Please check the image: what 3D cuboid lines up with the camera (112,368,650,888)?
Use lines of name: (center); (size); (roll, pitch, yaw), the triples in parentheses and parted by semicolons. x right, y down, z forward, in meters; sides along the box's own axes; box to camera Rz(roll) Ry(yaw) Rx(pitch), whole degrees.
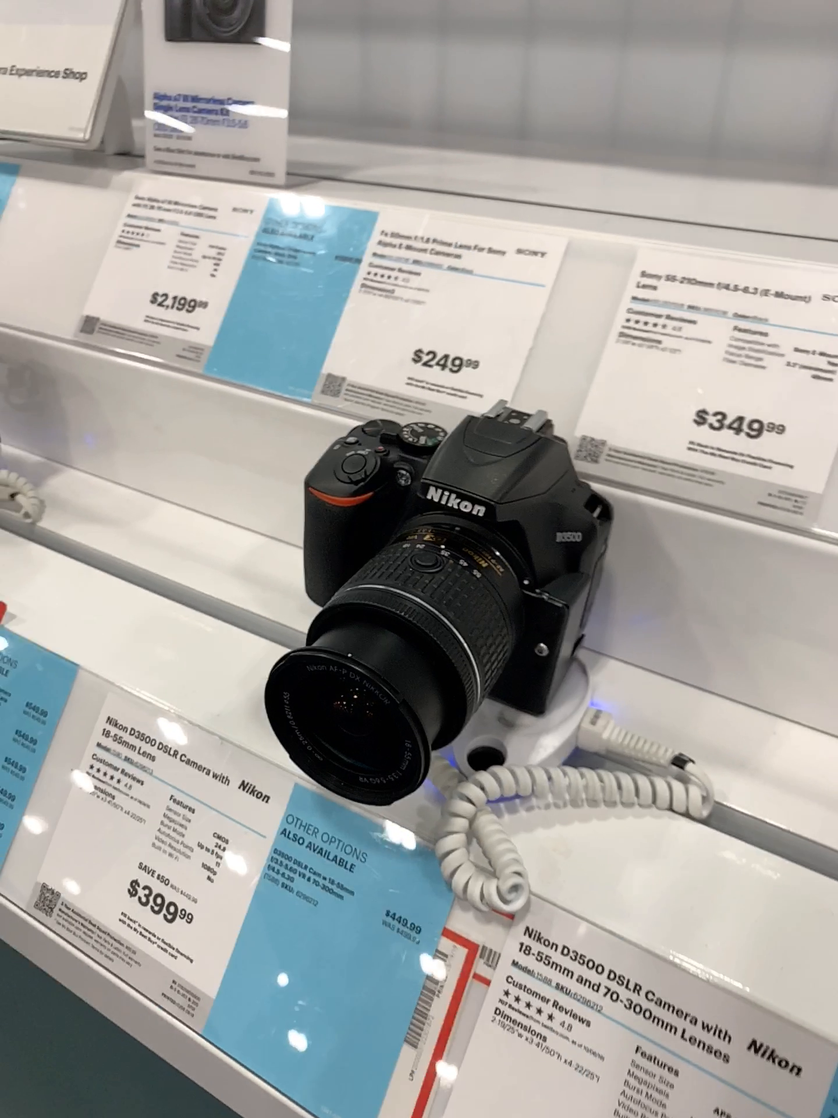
camera: (-0.004, 0.009, 0.327); (0.130, 0.099, 0.151); (16, 34, 22)
